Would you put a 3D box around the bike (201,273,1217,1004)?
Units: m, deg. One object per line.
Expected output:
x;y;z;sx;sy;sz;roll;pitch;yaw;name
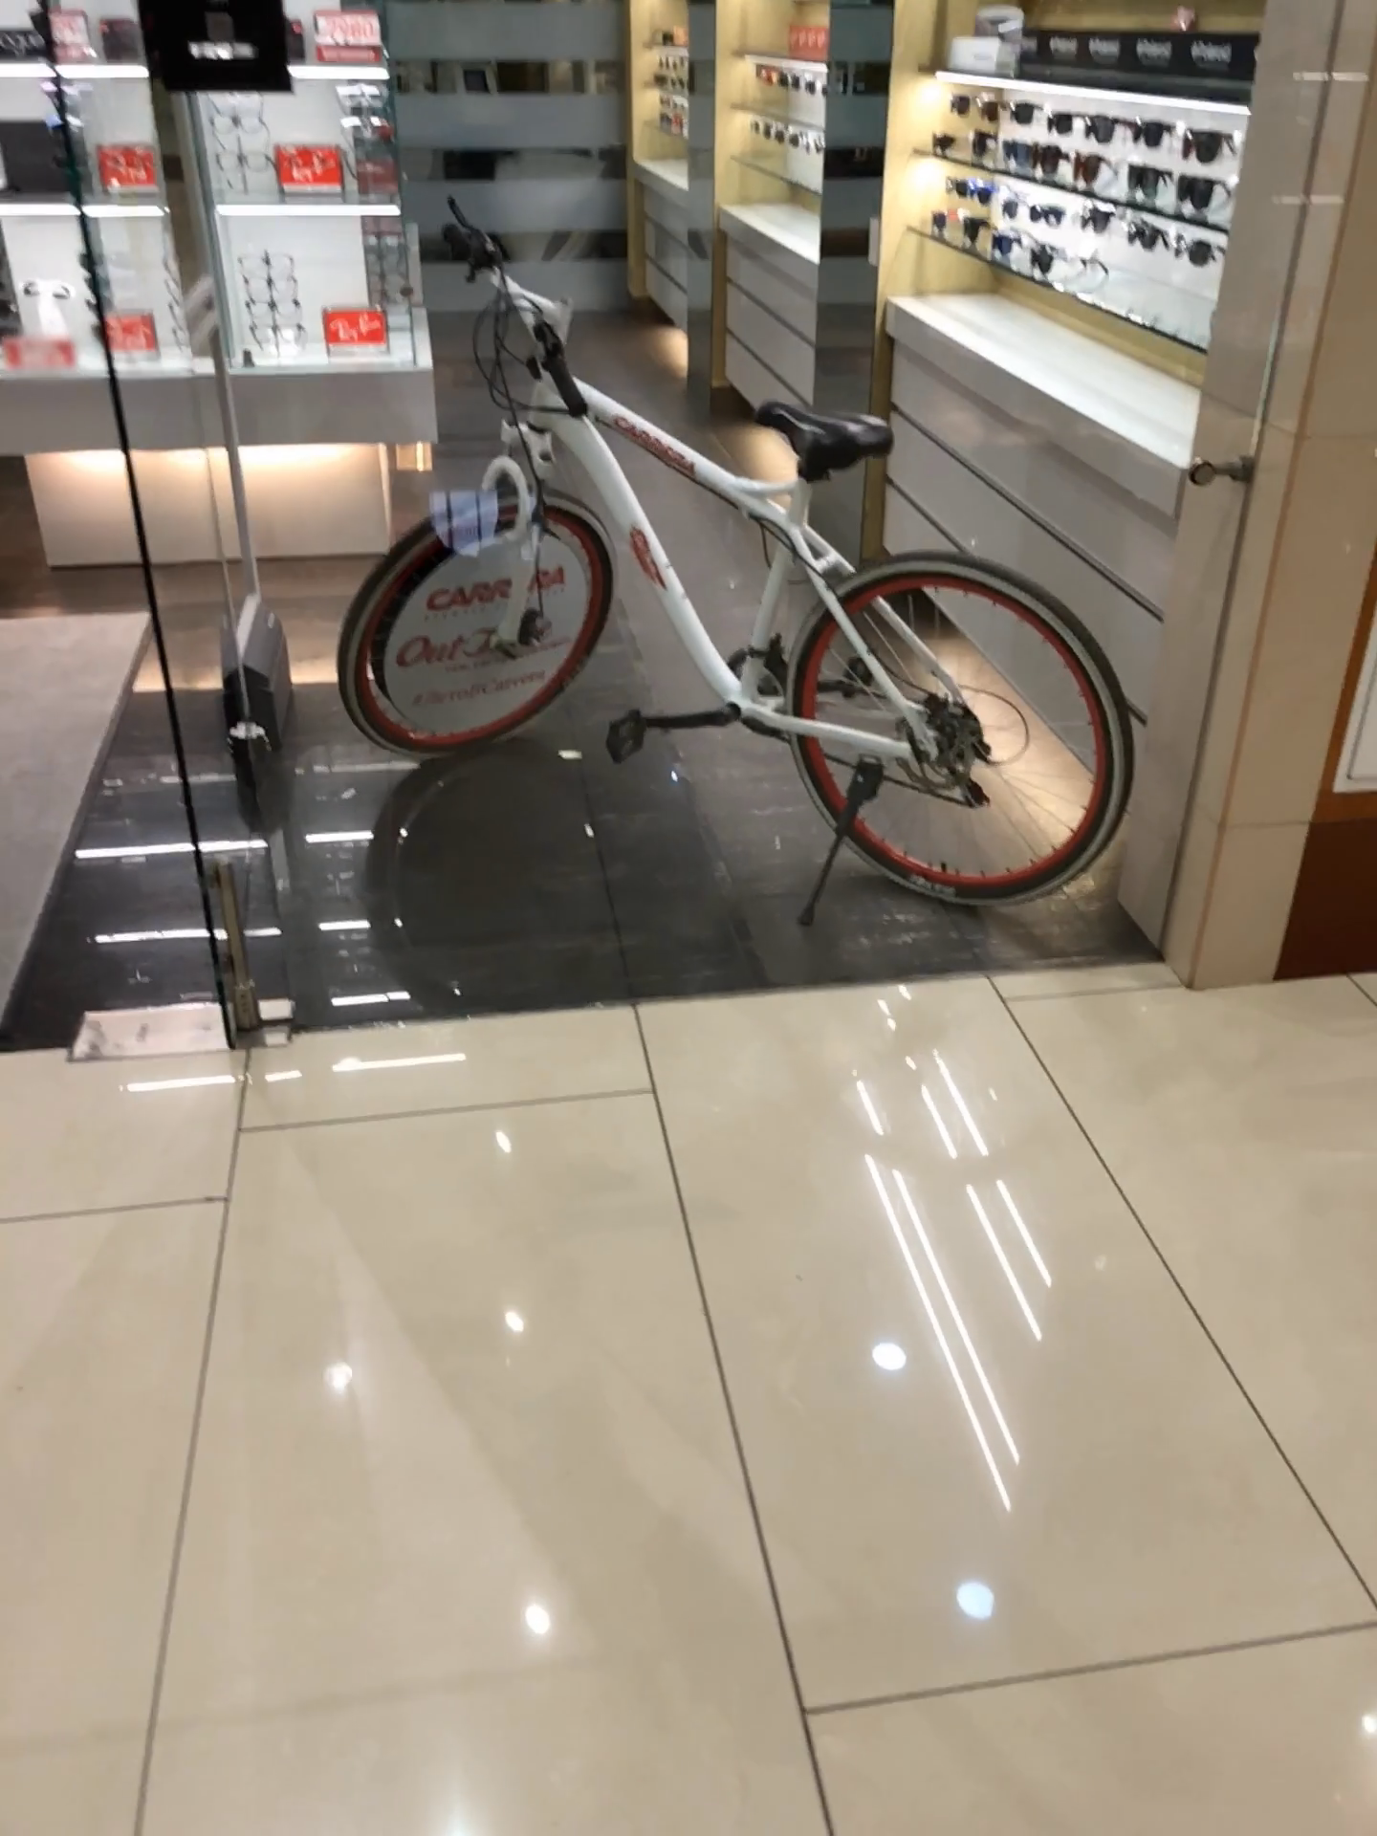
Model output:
0.020;-0.498;2.506;1.382;0.947;0.594;9;30;22;bike
